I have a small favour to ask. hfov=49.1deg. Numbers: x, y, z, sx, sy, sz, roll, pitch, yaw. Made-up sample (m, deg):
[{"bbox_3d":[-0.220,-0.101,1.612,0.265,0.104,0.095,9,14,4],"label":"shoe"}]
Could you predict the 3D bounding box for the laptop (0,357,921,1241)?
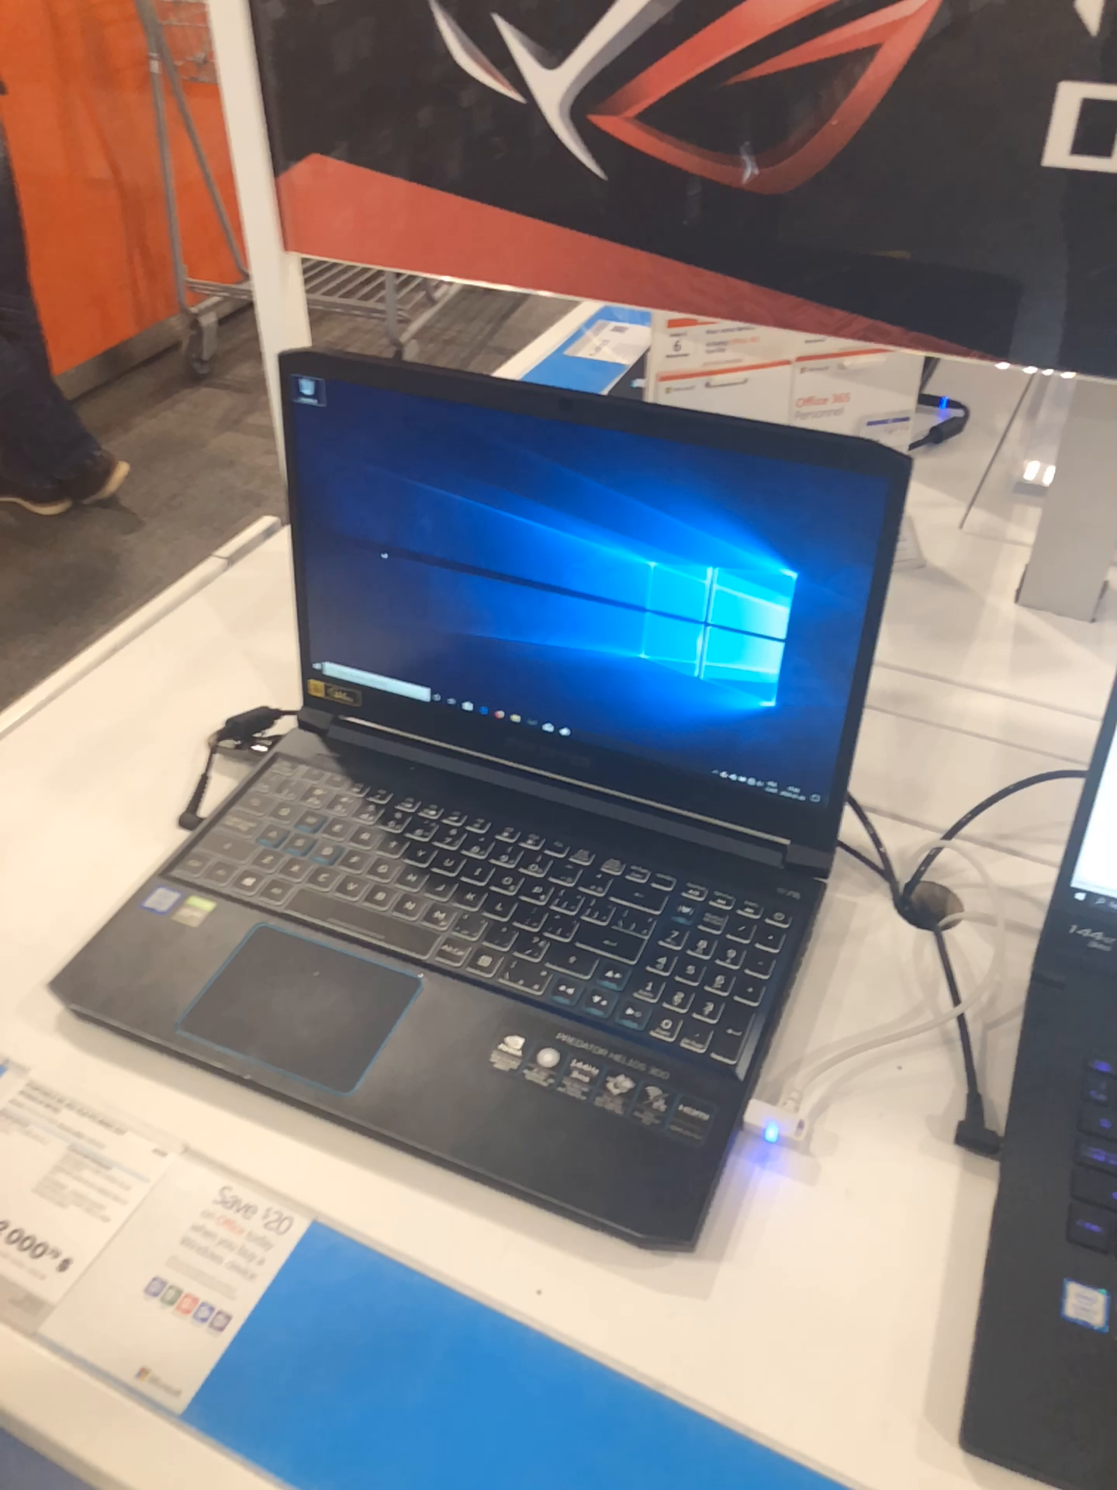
[{"bbox_3d":[-0.048,-0.002,0.597,0.348,0.230,0.274,15,43,20],"label":"laptop"}]
